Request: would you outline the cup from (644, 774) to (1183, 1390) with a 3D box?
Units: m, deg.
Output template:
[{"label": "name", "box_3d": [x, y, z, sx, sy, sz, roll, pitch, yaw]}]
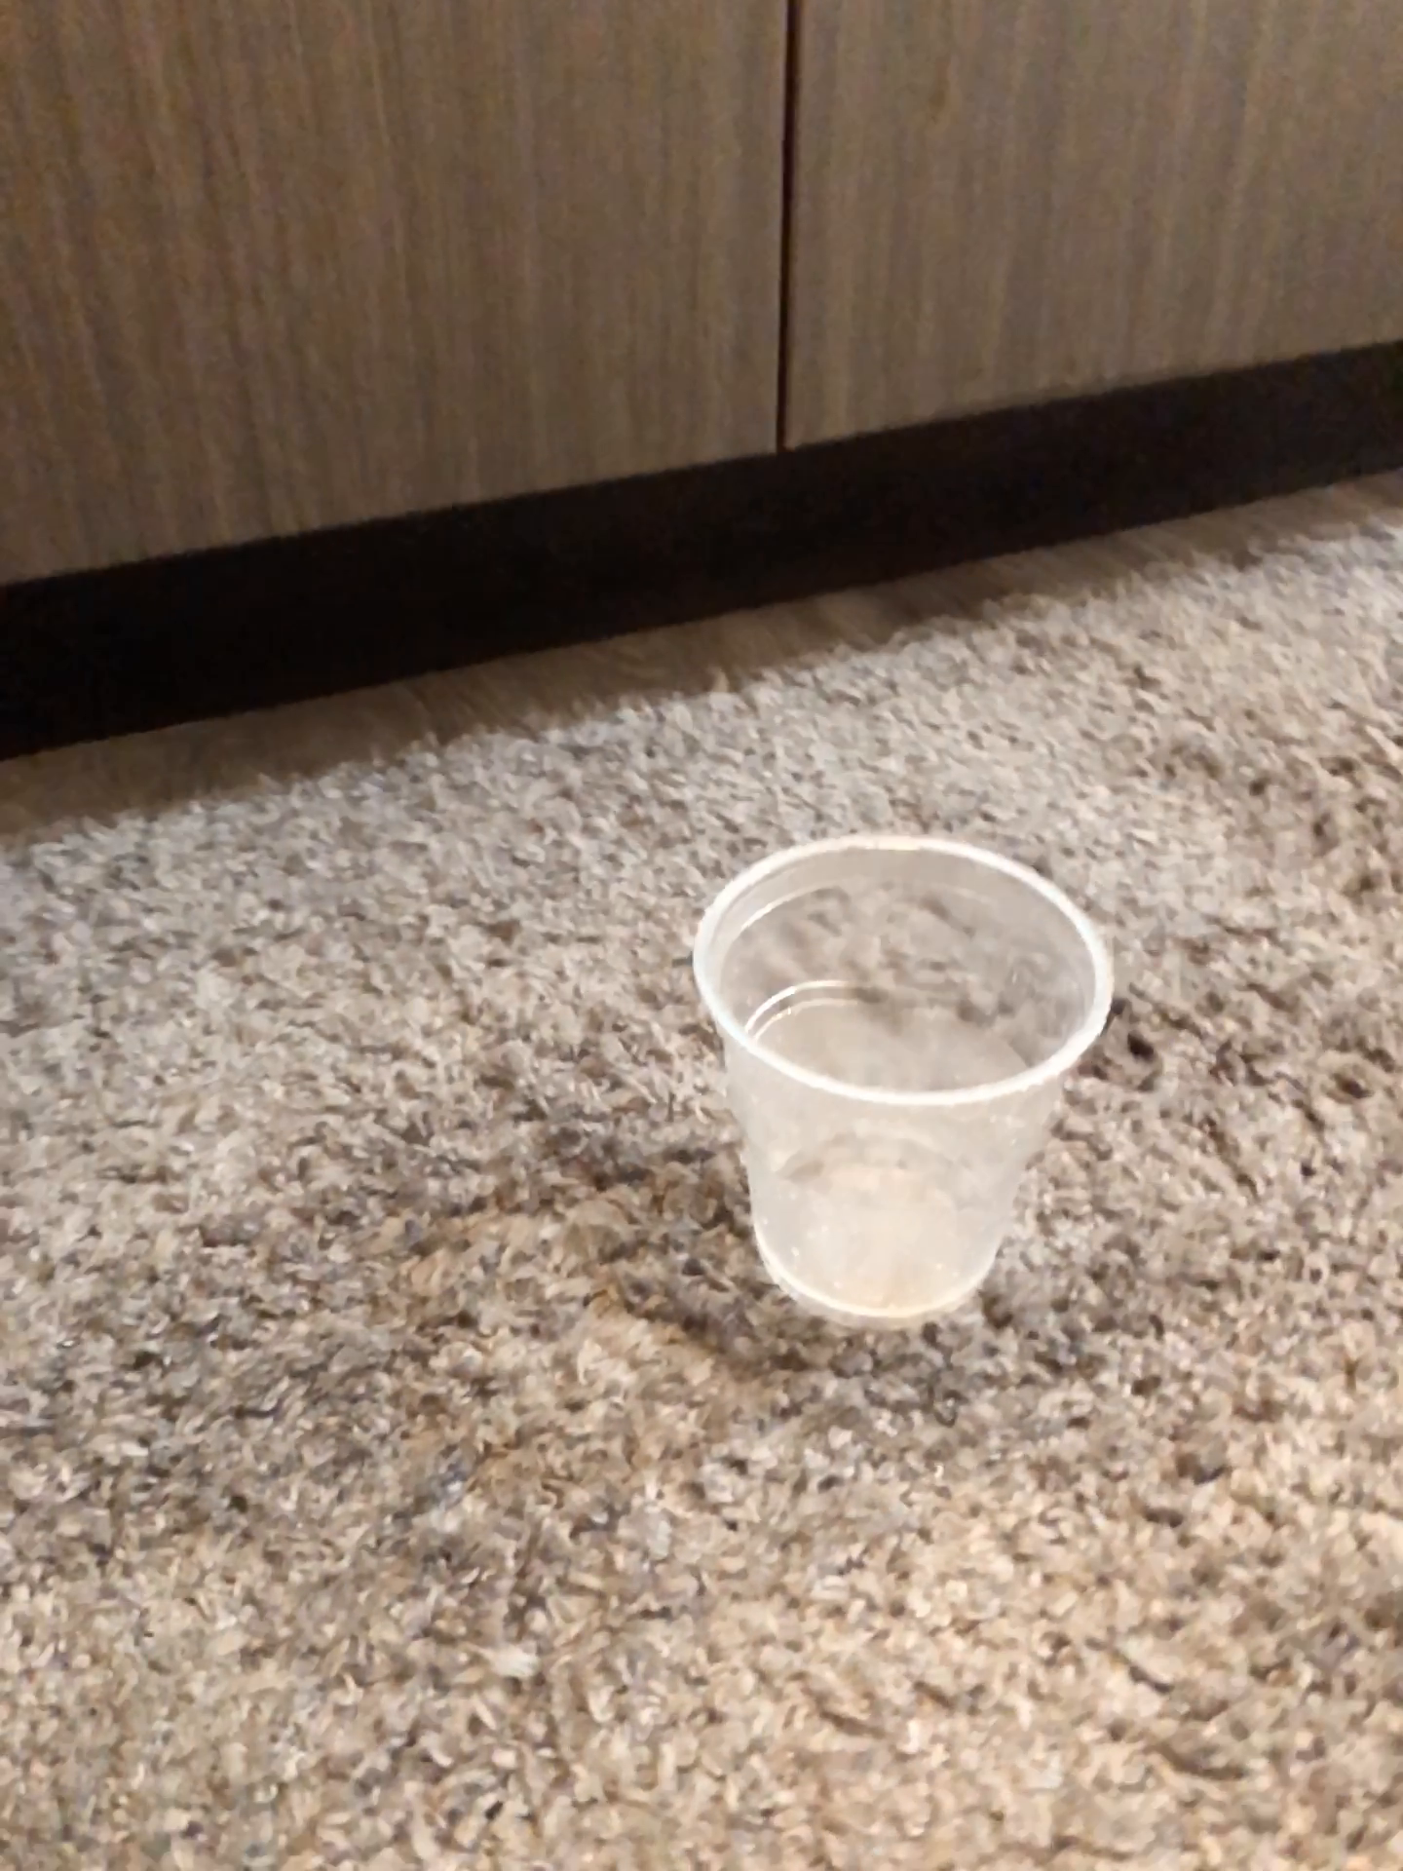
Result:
[{"label": "cup", "box_3d": [0.037, 0.029, 0.340, 0.090, 0.089, 0.091, 0, 36, 0]}]
